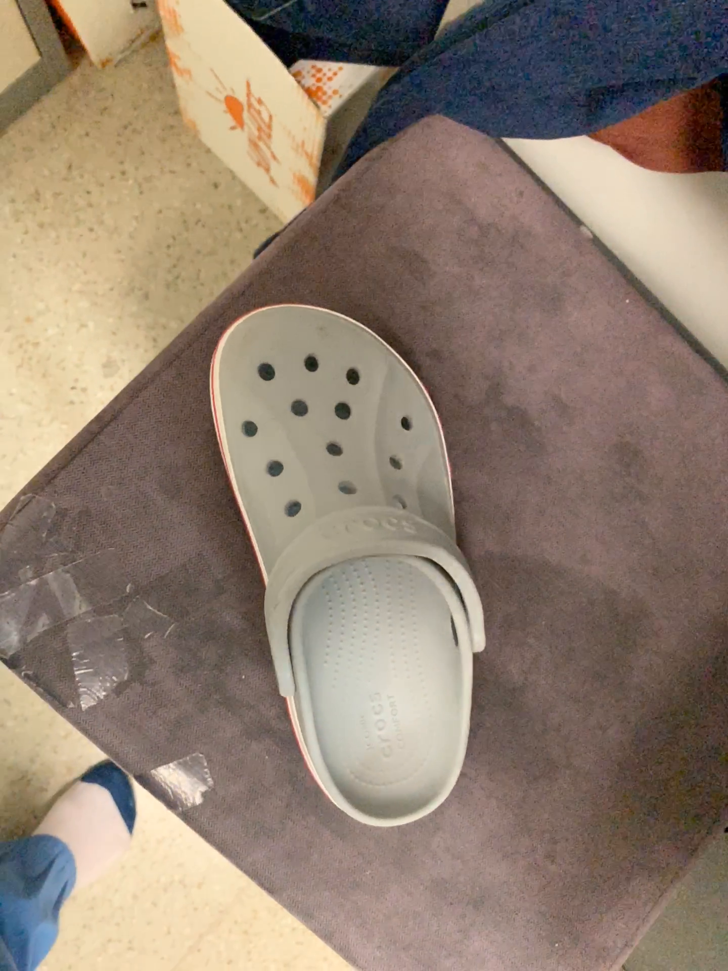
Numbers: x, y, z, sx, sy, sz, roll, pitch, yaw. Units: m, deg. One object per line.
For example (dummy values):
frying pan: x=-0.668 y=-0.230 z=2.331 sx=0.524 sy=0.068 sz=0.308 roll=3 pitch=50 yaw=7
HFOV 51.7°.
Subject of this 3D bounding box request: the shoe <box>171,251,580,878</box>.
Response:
shoe: x=0.002 y=0.031 z=0.350 sx=0.119 sy=0.075 sz=0.238 roll=-14 pitch=91 yaw=-9
